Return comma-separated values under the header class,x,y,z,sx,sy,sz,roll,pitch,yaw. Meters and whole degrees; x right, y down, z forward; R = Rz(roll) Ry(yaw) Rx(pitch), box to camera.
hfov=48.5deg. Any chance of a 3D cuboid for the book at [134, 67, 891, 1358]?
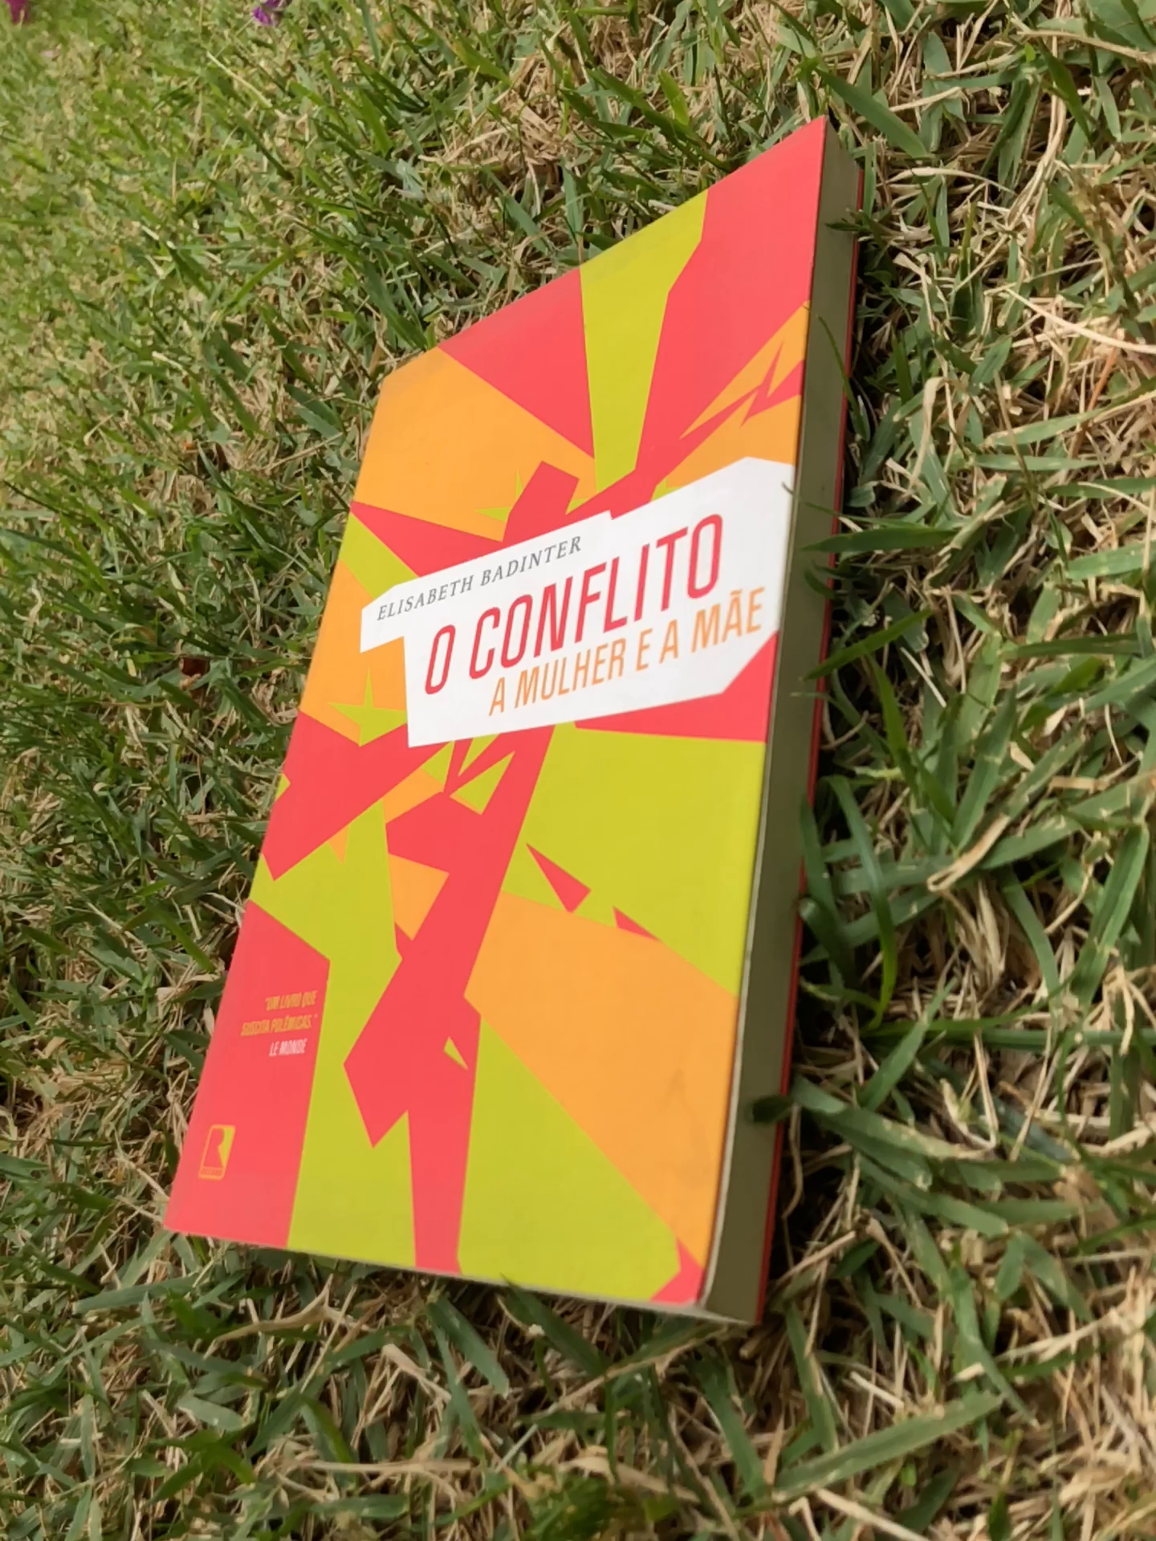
class,x,y,z,sx,sy,sz,roll,pitch,yaw
book,-0.012,-0.014,0.232,0.131,0.020,0.200,-13,59,44
